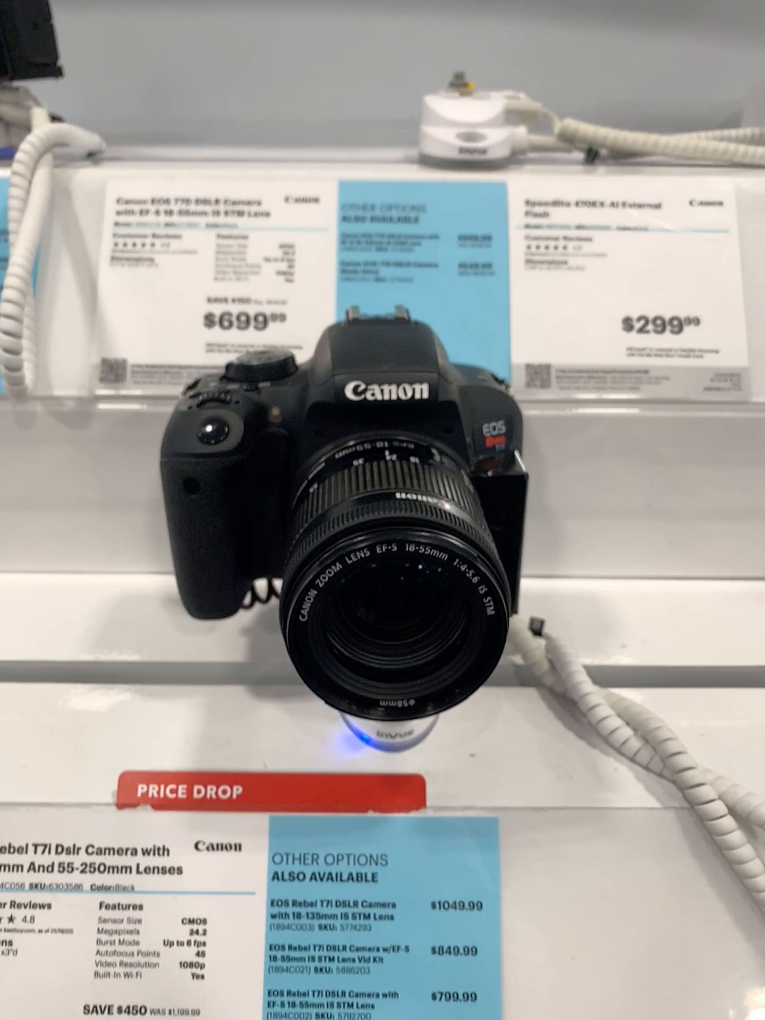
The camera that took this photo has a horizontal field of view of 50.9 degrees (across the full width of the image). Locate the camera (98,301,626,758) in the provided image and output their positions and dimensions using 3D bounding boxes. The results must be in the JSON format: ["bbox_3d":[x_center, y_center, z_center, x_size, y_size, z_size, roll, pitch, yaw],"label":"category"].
[{"bbox_3d":[-0.008,-0.005,0.282,0.130,0.100,0.139,-3,28,-3],"label":"camera"}]
